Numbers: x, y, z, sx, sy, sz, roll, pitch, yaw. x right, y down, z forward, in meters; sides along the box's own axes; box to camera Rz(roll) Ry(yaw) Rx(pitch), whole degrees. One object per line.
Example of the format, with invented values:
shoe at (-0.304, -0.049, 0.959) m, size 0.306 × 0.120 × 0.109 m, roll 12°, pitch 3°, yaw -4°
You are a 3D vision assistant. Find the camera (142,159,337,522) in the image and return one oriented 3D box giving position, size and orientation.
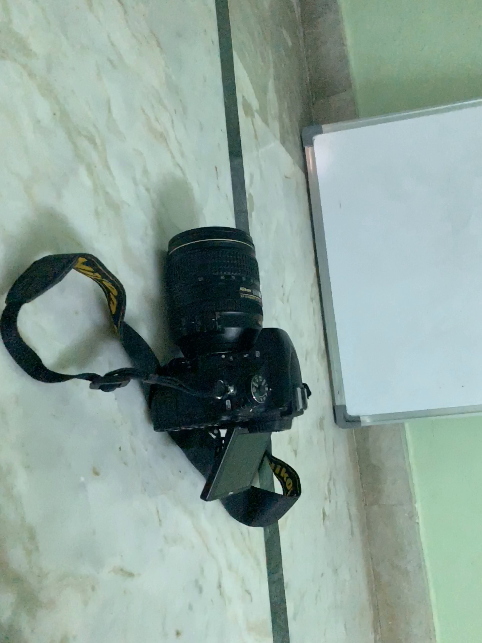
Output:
camera at (0.002, 0.024, 0.428) m, size 0.147 × 0.100 × 0.258 m, roll 24°, pitch 59°, yaw -63°
